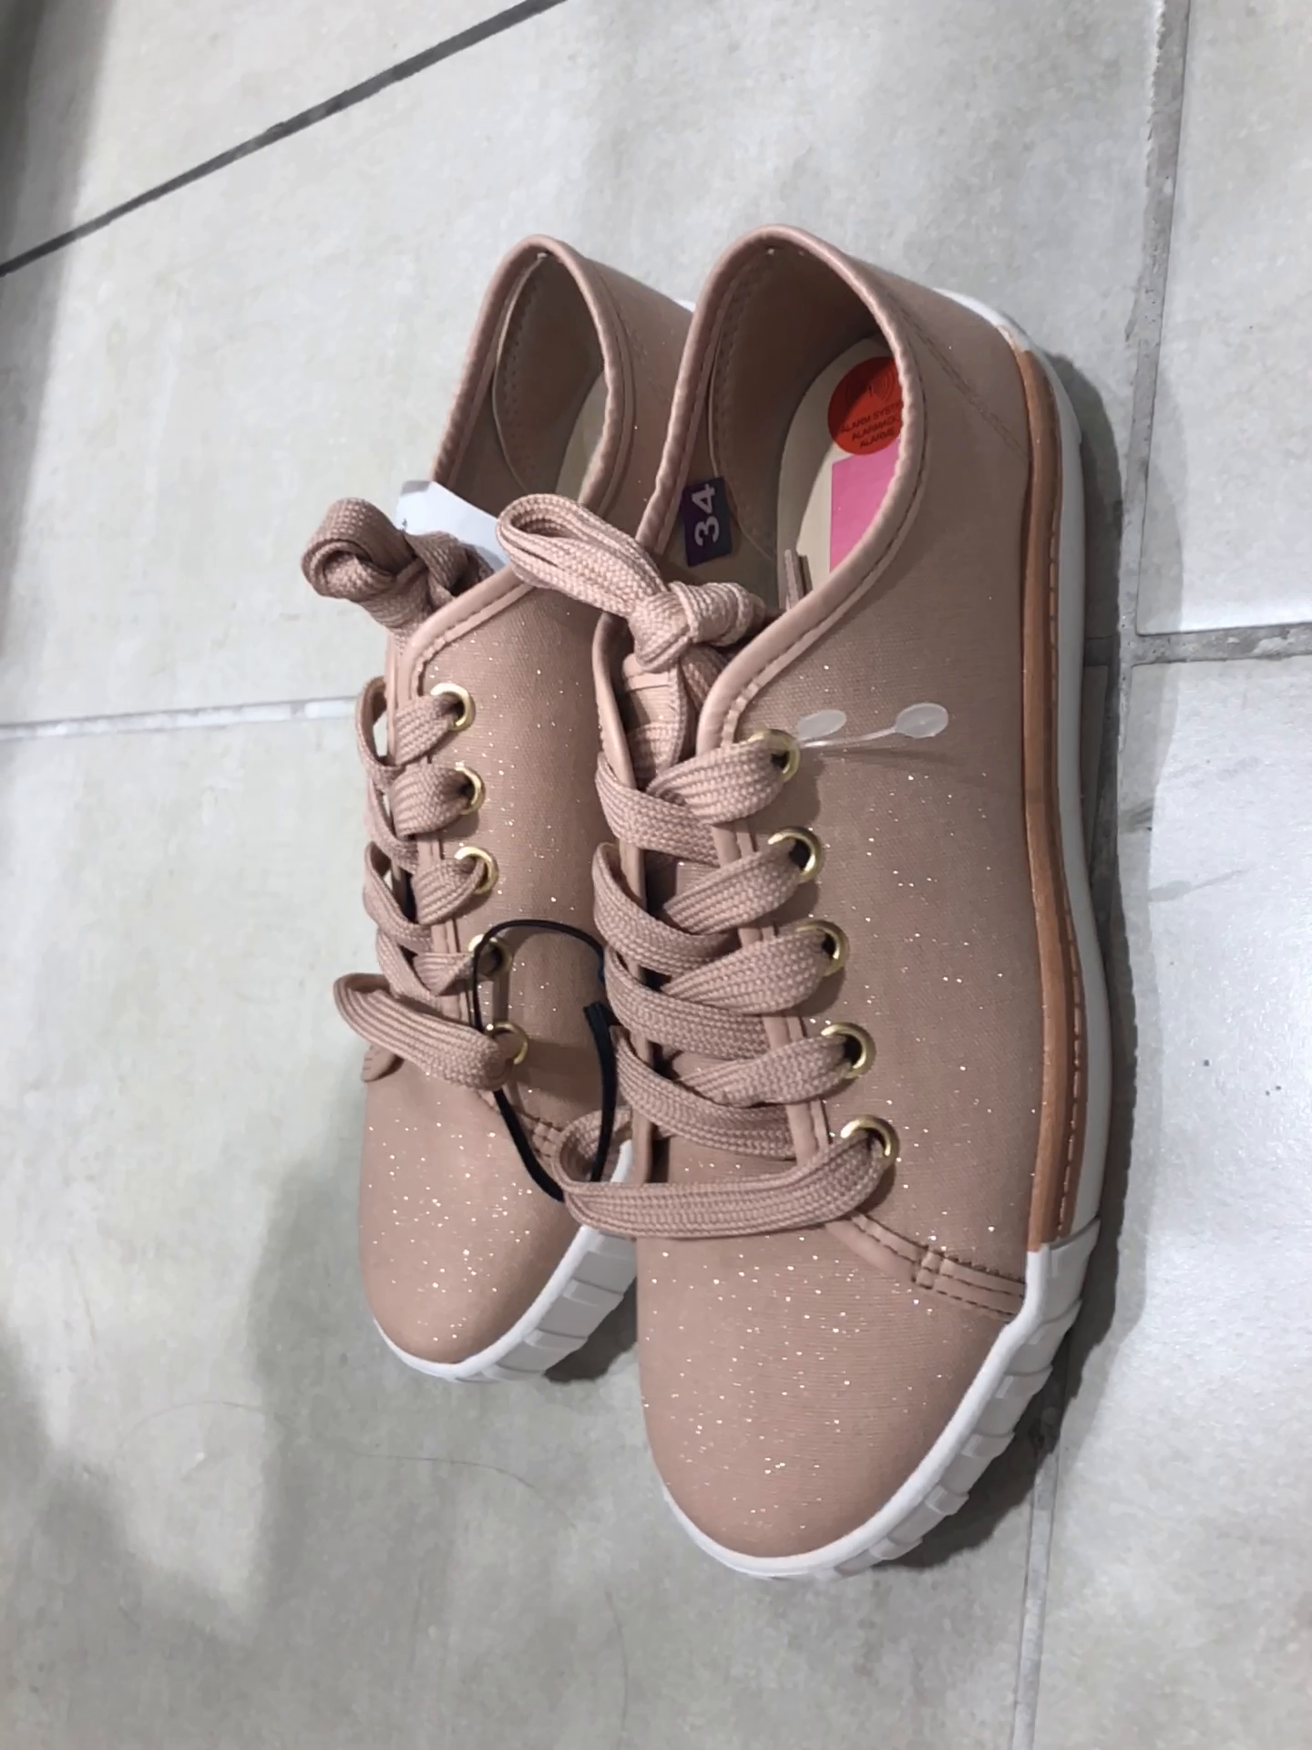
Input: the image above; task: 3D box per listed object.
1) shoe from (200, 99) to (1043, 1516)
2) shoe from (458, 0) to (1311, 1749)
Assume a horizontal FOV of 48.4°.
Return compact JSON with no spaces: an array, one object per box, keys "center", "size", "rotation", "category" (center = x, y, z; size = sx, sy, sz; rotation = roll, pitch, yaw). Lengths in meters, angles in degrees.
[{"center":[-0.004,-0.011,0.309],"size":[0.090,0.100,0.240],"rotation":[10,87,41],"category":"shoe"},{"center":[0.049,0.005,0.246],"size":[0.090,0.100,0.240],"rotation":[1,82,40],"category":"shoe"}]
